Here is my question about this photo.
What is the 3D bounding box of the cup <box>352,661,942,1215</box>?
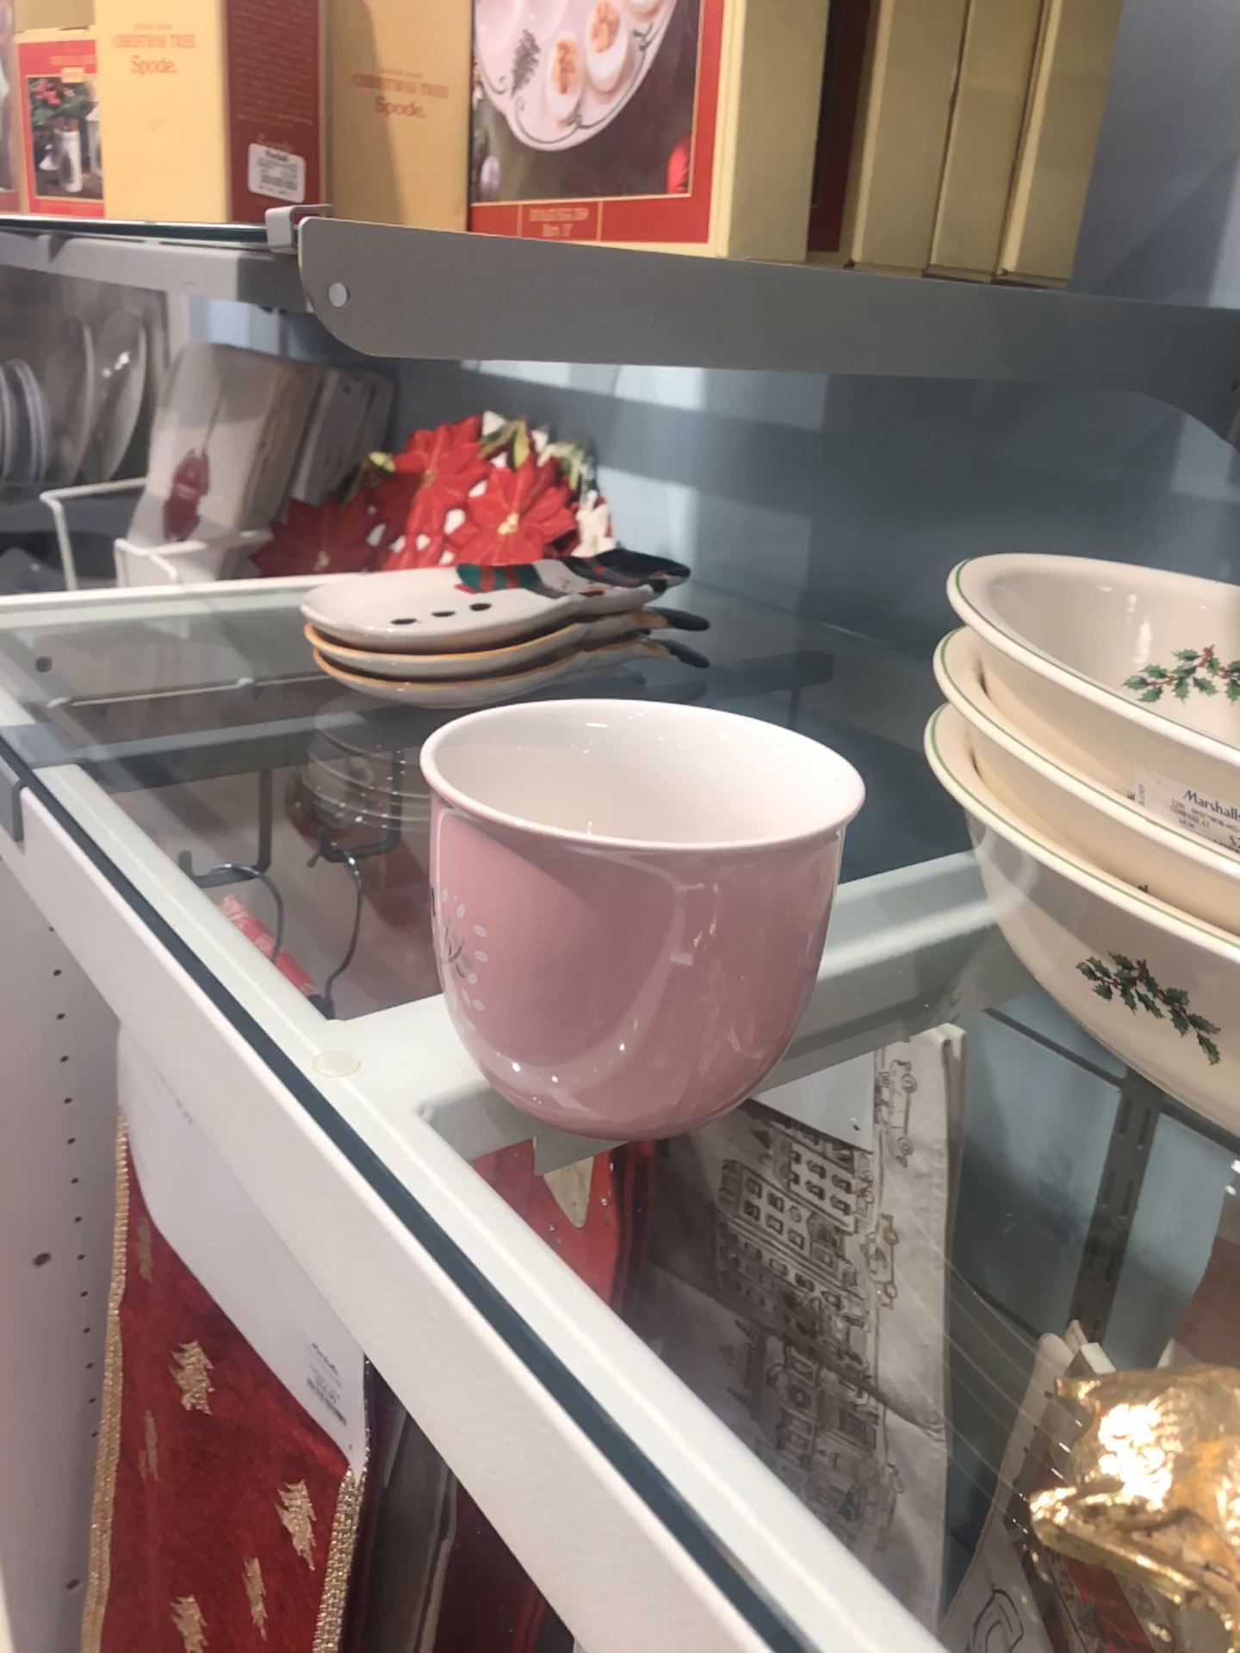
[{"bbox_3d":[-0.006,0.017,0.359,0.112,0.085,0.136,-2,23,-17],"label":"cup"}]
